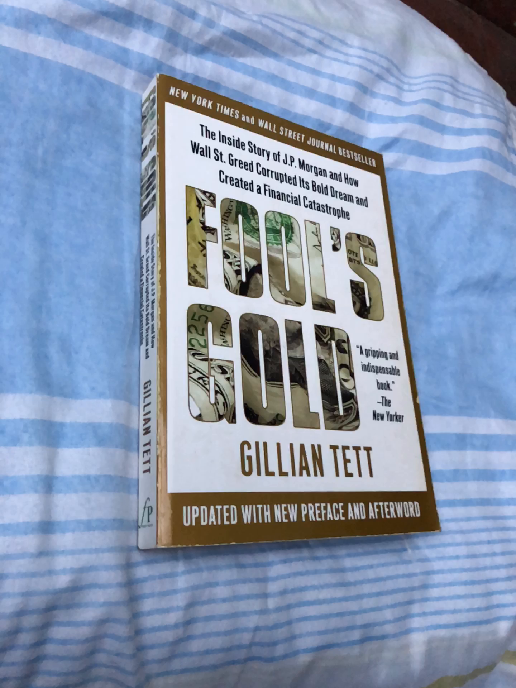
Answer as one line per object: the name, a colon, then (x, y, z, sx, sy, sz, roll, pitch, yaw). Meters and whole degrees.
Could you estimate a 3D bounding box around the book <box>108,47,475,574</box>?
book: (0.016, -0.015, 0.278, 0.151, 0.040, 0.230, 11, 64, -28)
